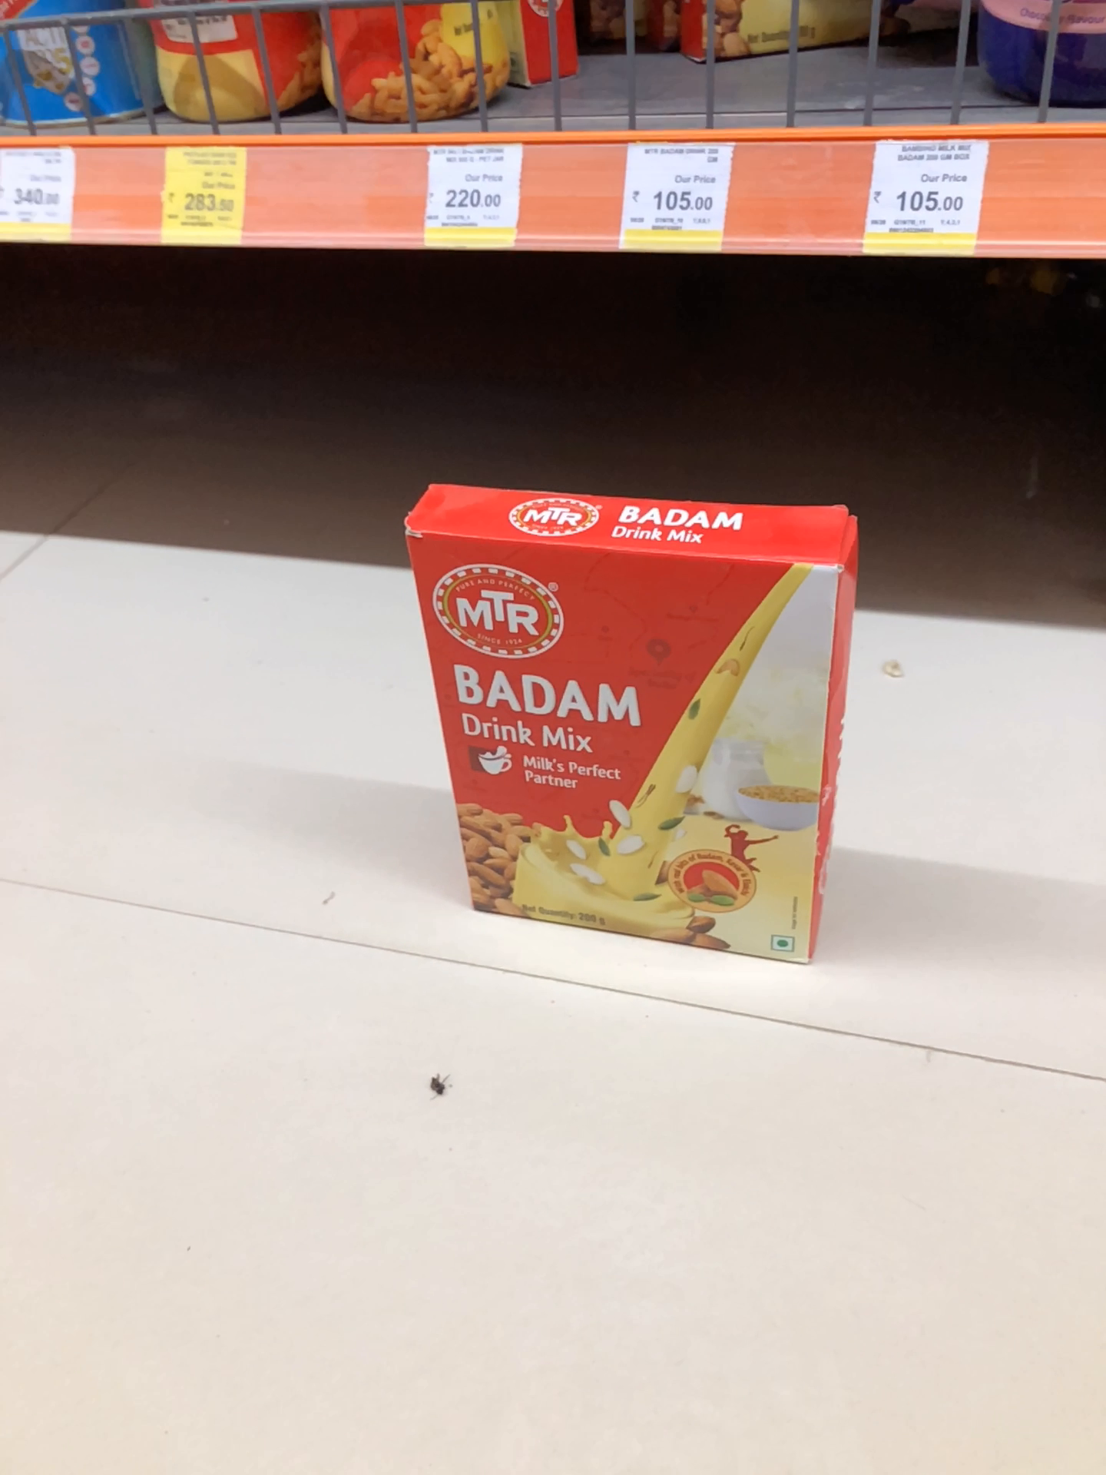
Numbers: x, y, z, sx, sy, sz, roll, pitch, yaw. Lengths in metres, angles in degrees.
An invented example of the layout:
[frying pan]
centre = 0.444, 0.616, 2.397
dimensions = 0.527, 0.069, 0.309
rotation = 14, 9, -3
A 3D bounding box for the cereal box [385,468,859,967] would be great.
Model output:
[cereal box]
centre = 0.026, -0.003, 0.400
dimensions = 0.130, 0.159, 0.040
rotation = 6, 40, 15
